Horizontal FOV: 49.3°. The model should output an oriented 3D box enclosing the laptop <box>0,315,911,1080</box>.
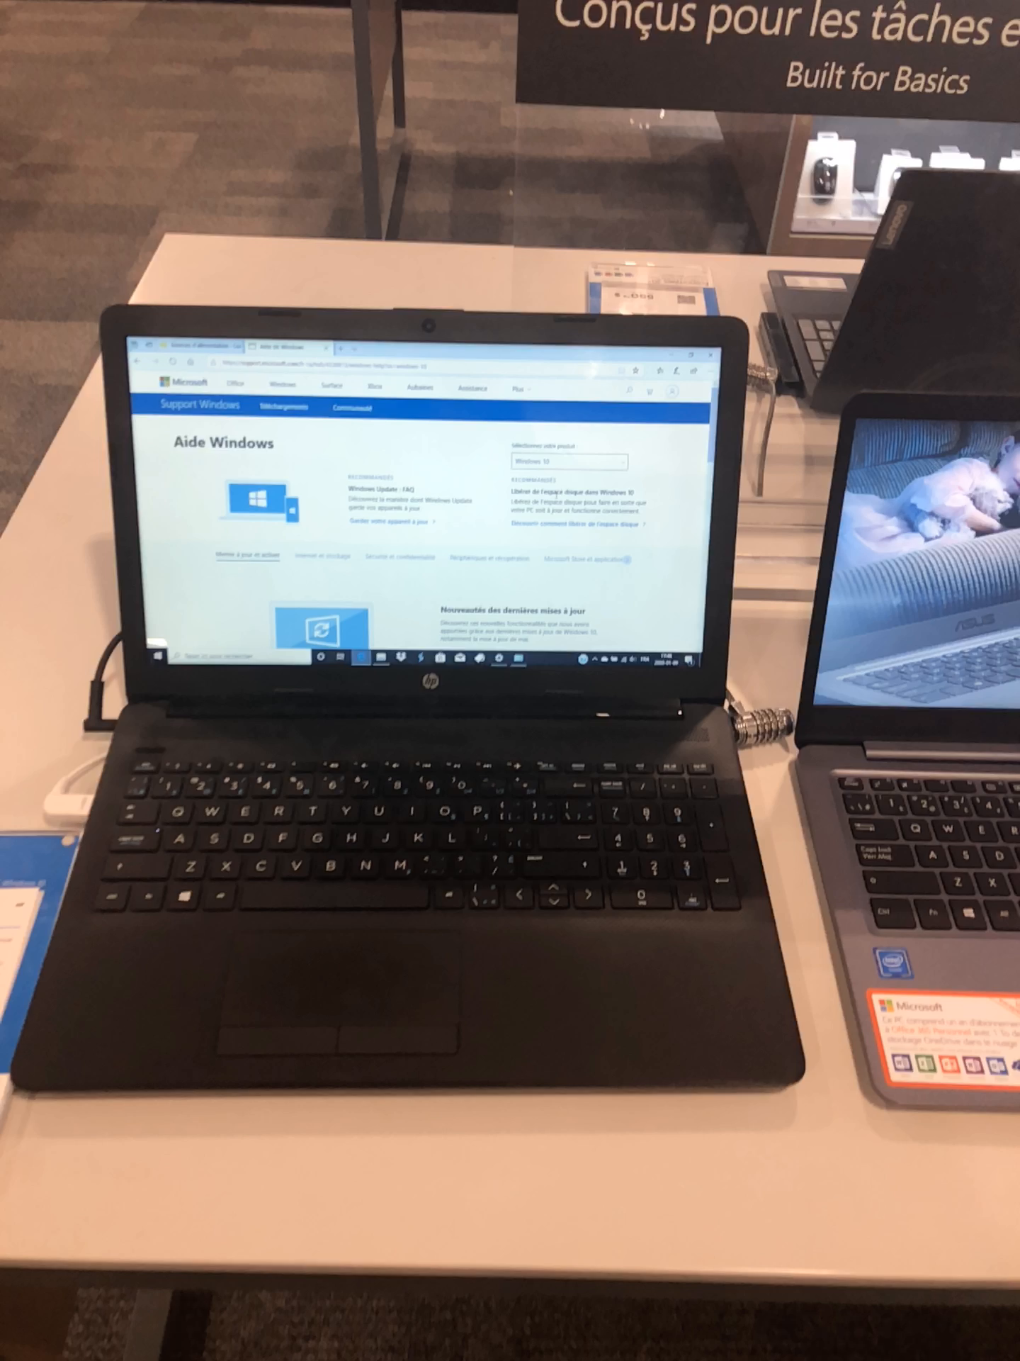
[{"bbox_3d":[-0.049,-0.012,0.573,0.356,0.195,0.361,0,44,-1],"label":"laptop"}]
